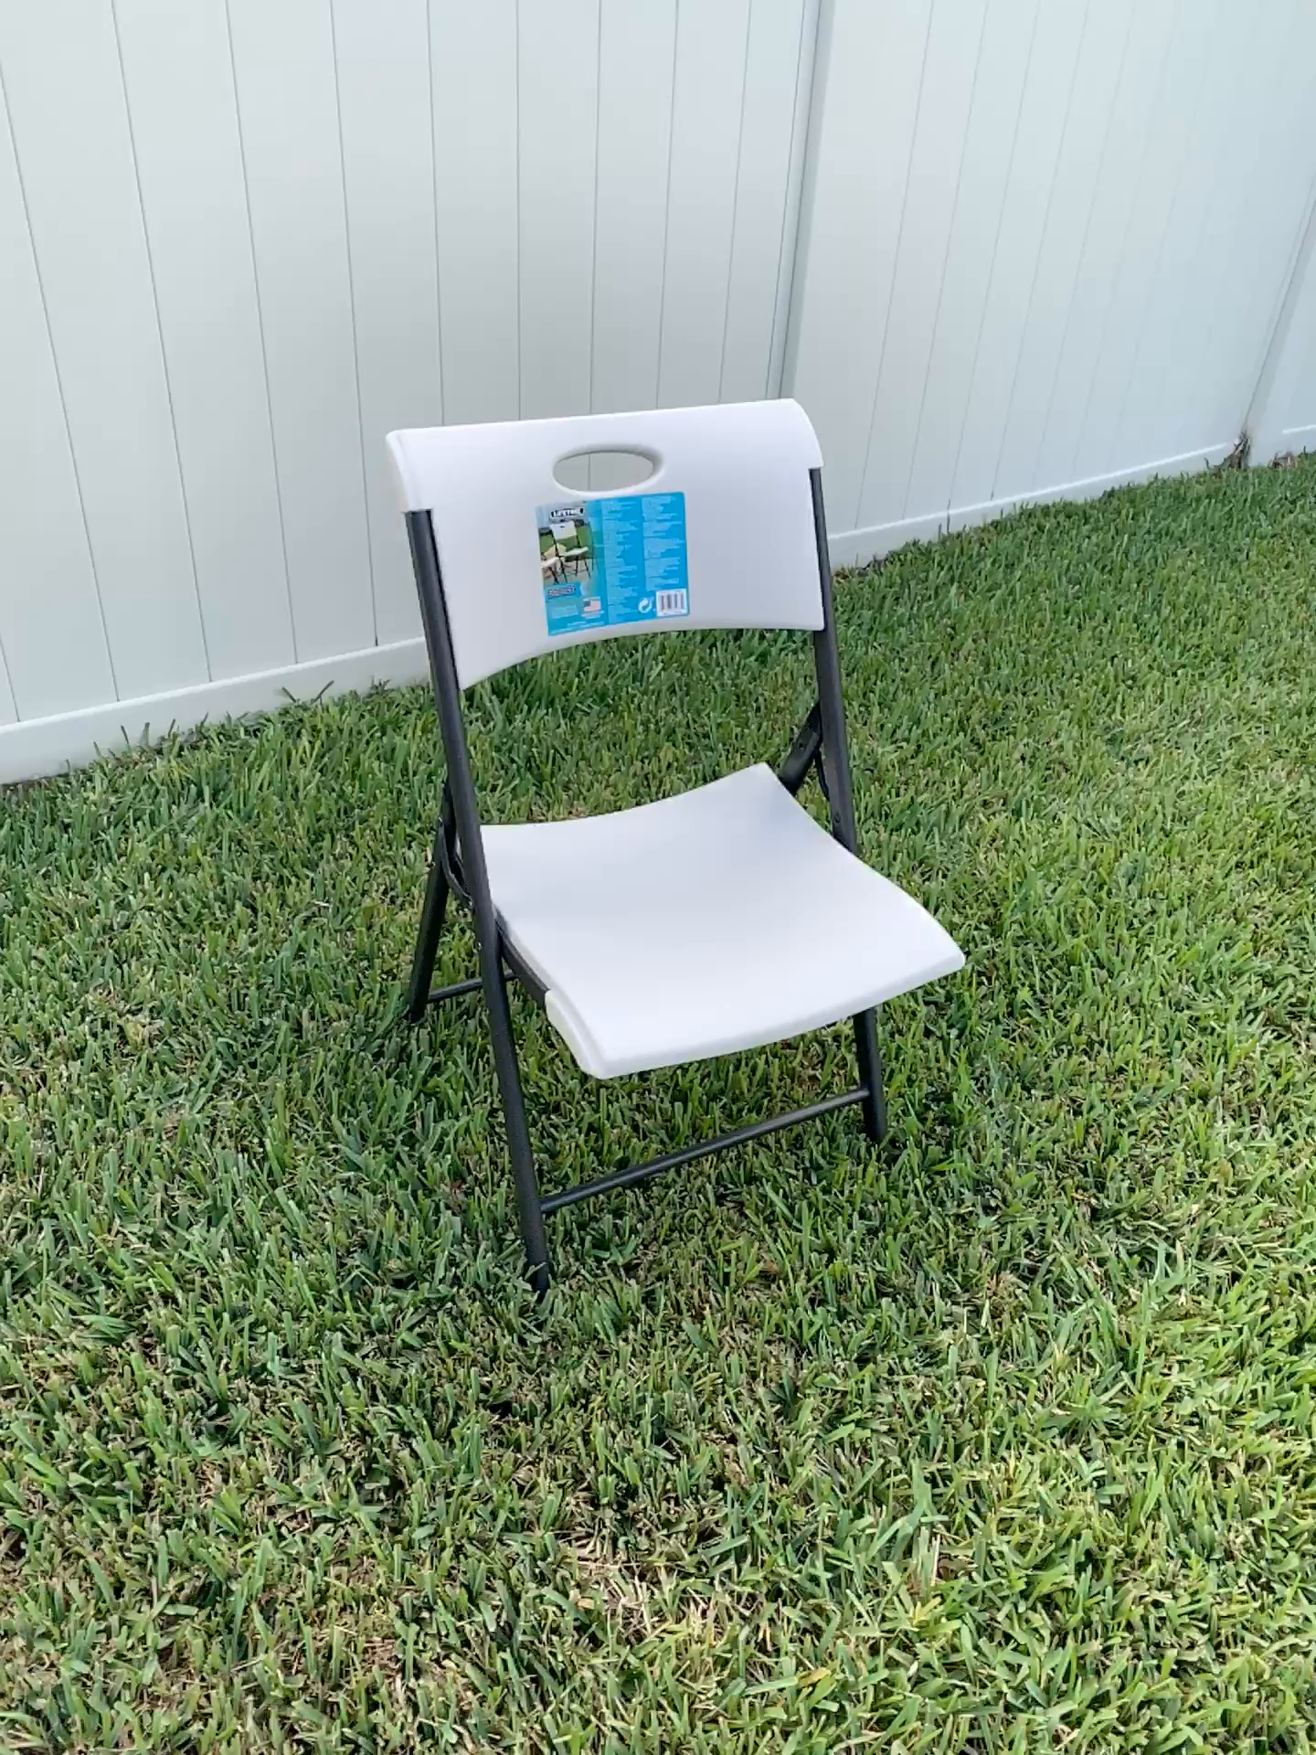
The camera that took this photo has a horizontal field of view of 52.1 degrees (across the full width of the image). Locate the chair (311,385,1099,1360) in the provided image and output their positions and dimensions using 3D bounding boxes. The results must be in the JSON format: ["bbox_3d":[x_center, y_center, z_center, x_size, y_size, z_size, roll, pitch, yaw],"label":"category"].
[{"bbox_3d":[-0.005,-0.038,1.407,0.520,0.766,0.518,-13,37,-25],"label":"chair"}]
